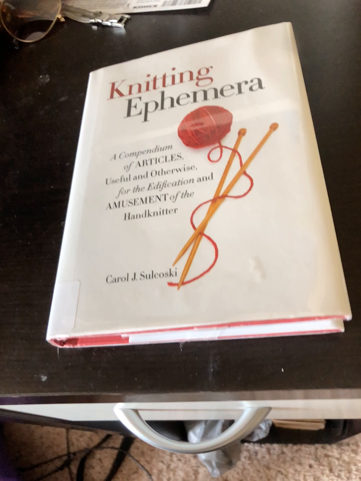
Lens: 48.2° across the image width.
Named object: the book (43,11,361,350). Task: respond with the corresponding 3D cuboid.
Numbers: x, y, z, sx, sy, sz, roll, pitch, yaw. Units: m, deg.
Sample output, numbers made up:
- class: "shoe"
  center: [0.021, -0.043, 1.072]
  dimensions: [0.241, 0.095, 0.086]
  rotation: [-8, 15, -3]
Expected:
- class: "book"
  center: [0.007, -0.038, 0.217]
  dimensions: [0.132, 0.029, 0.178]
  rotation: [-8, 61, 14]
